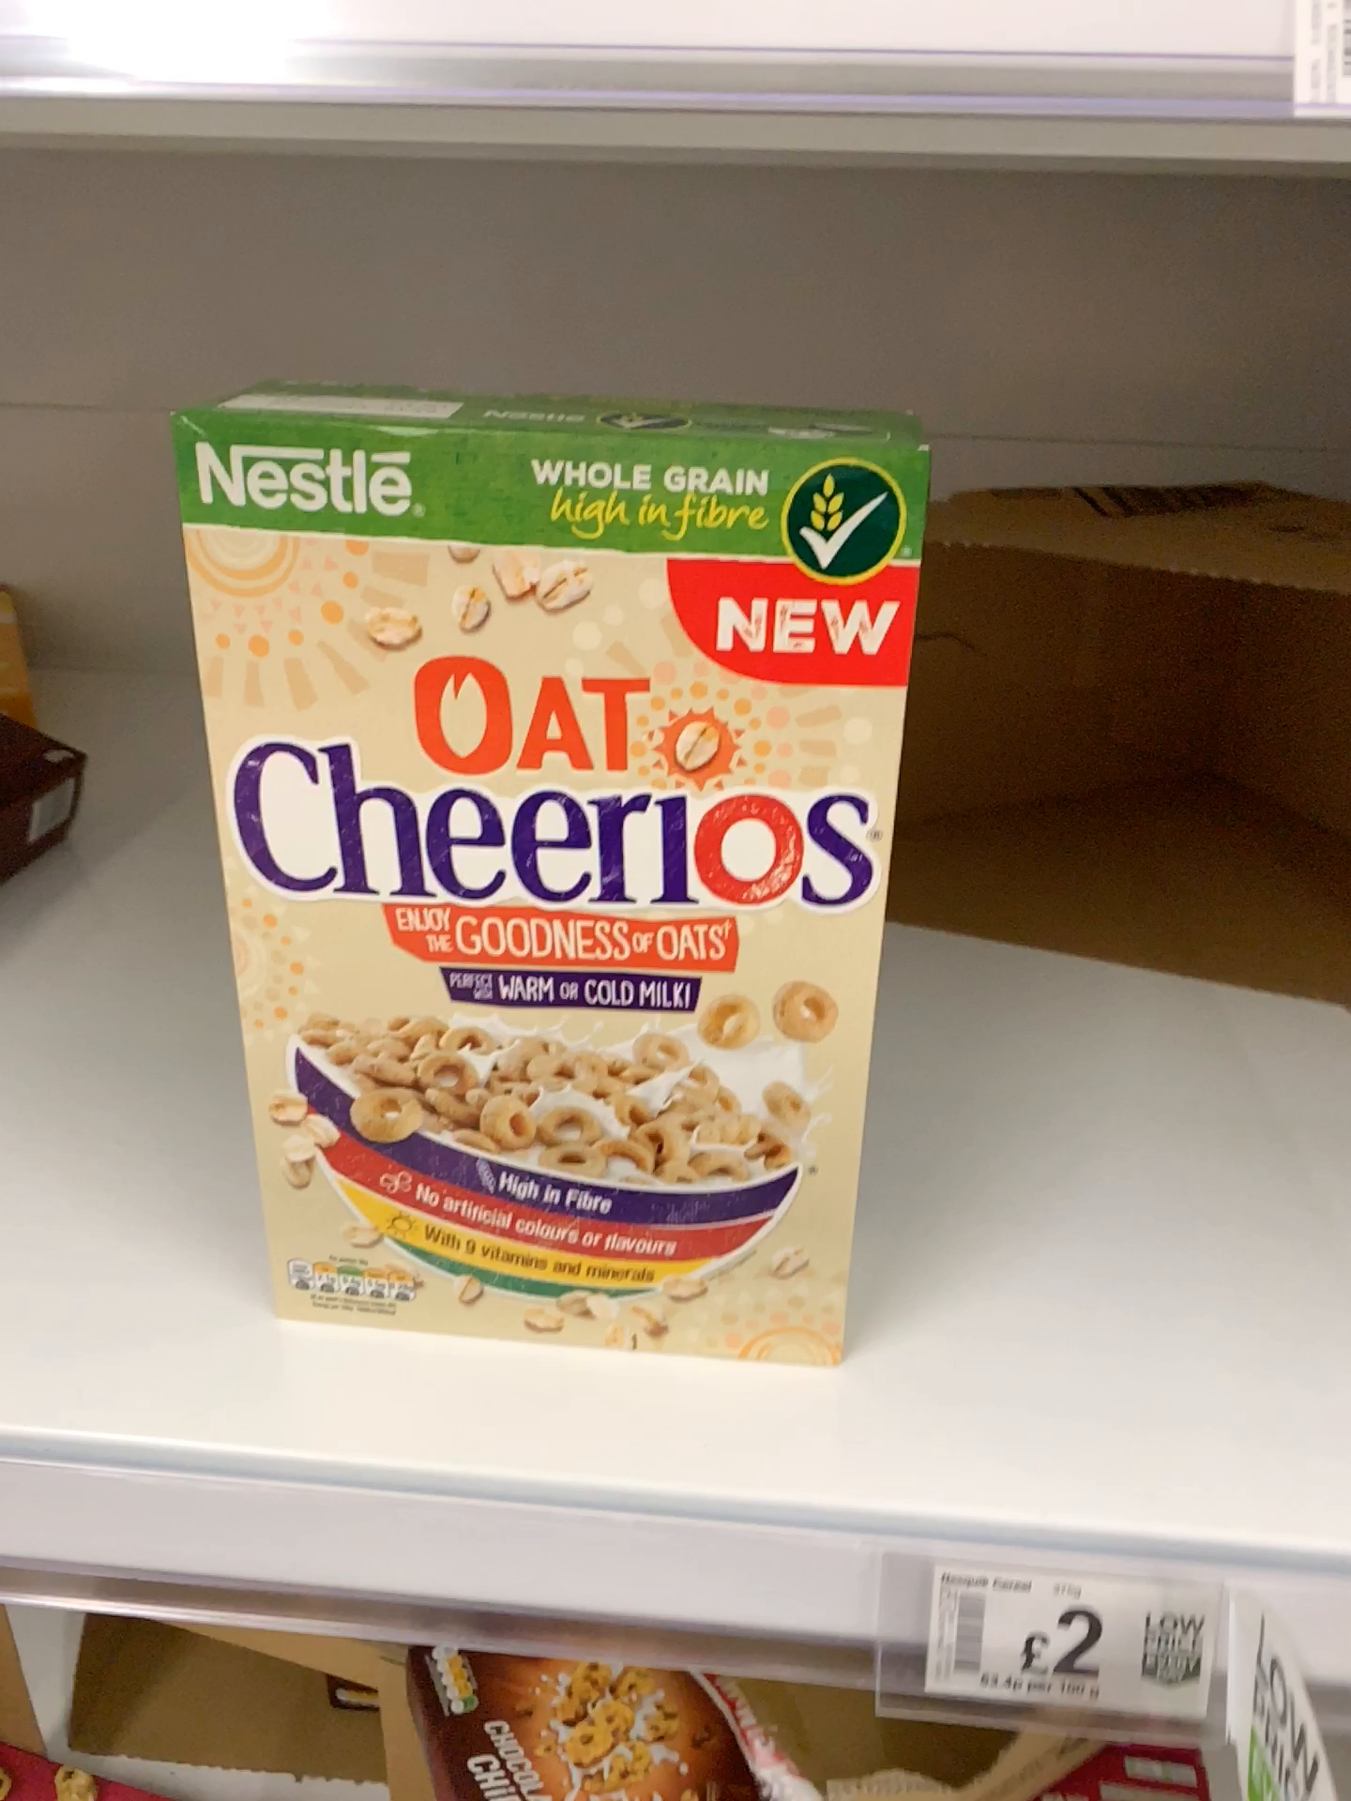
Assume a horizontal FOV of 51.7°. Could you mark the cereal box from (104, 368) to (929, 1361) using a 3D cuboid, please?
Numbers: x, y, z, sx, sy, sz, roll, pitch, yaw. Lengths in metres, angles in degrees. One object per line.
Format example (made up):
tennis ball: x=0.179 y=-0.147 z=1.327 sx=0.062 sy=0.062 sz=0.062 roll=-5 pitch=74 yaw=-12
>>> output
cereal box: x=-0.040 y=-0.003 z=0.427 sx=0.200 sy=0.287 sz=0.071 roll=4 pitch=26 yaw=5
